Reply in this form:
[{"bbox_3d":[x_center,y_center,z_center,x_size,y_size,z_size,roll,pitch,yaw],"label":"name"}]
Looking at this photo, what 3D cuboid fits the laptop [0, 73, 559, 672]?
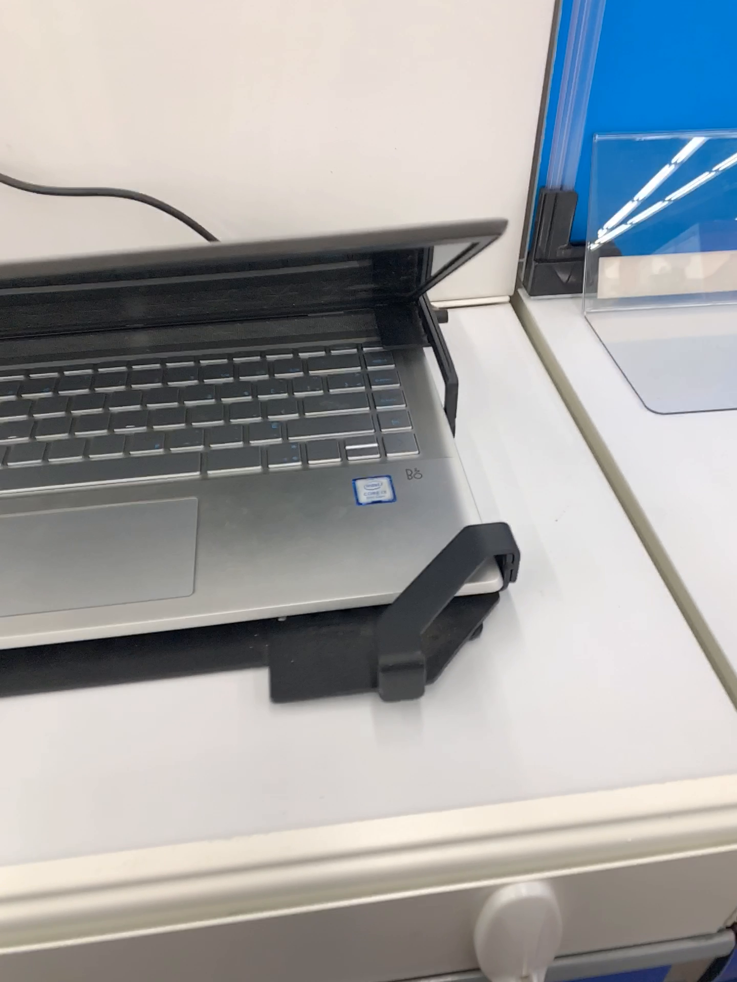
[{"bbox_3d":[-0.107,-0.060,0.291,0.283,0.111,0.194,-6,43,-3],"label":"laptop"}]
